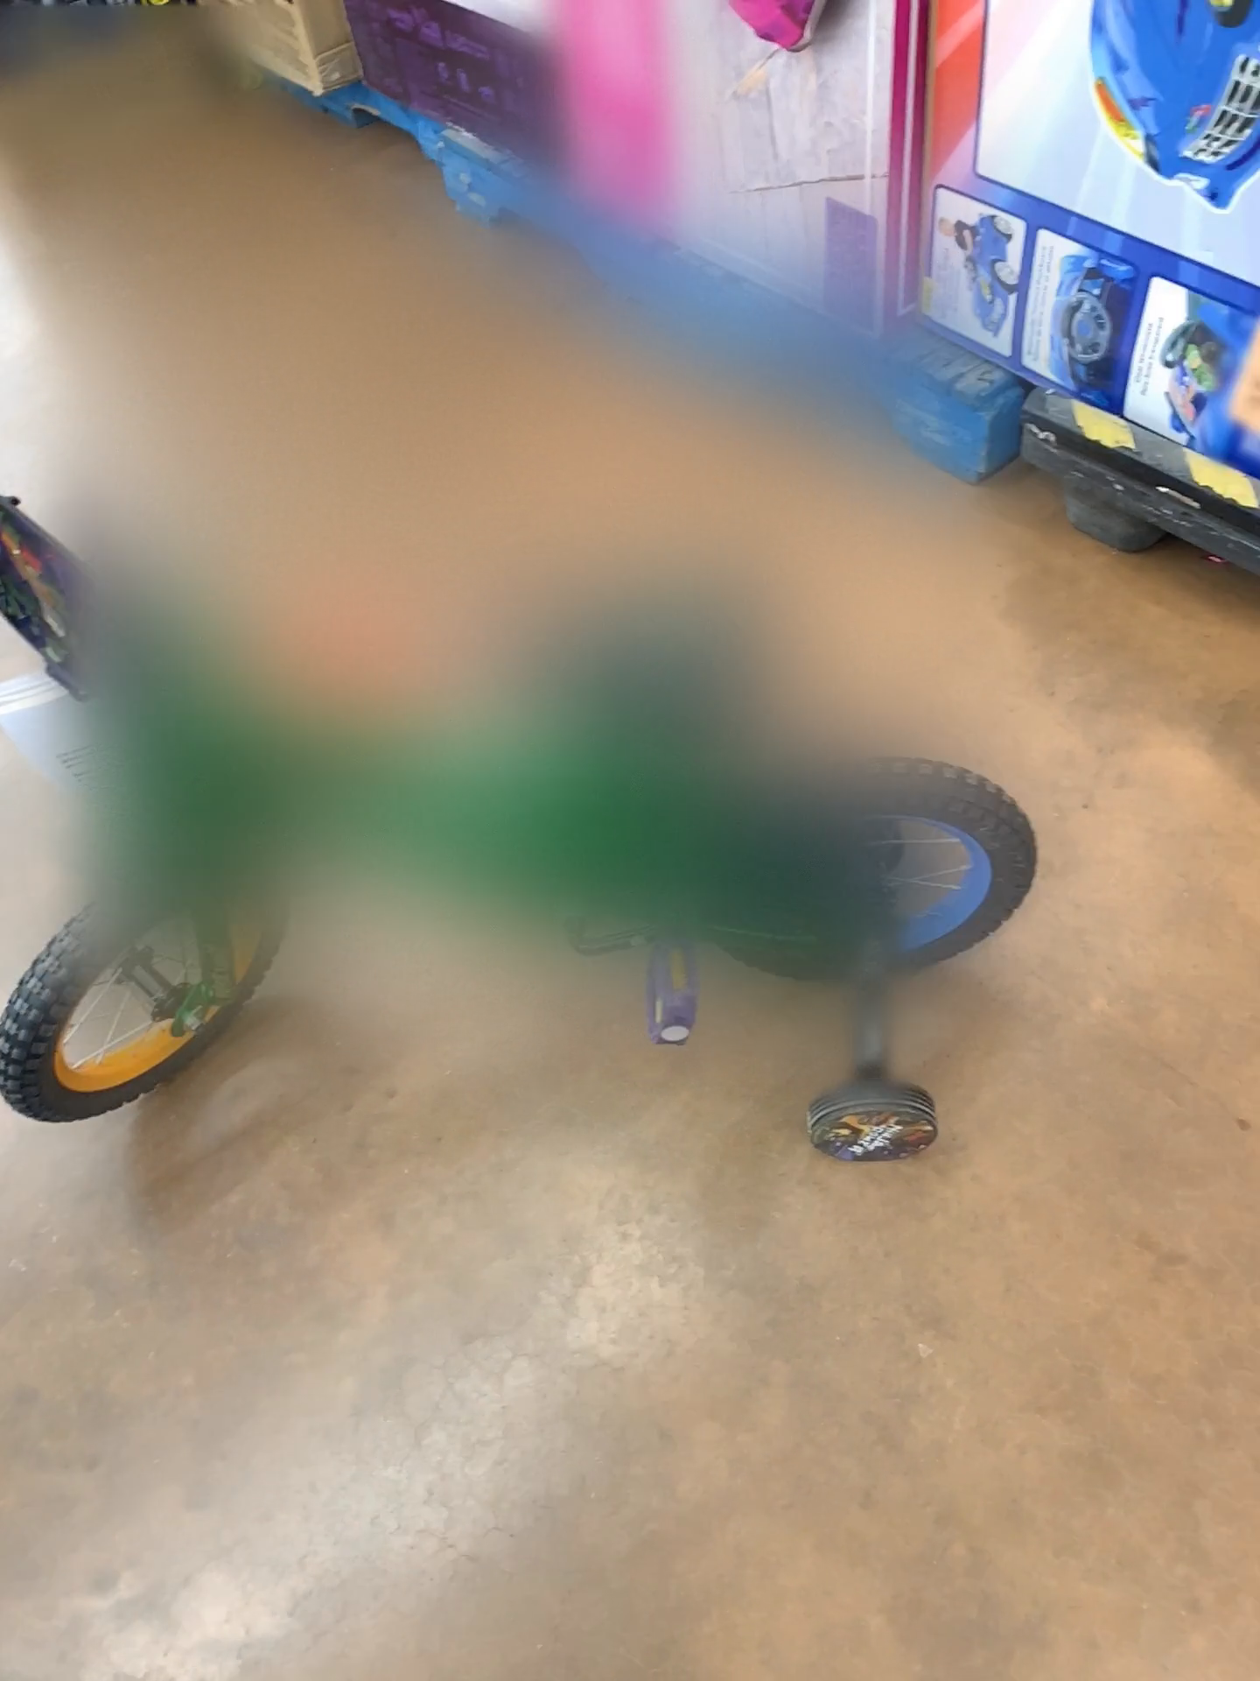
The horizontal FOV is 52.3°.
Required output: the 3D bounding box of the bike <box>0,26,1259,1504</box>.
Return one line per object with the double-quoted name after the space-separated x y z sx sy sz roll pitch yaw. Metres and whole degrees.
-0.104 -0.003 0.864 0.828 0.677 0.533 -9 51 0 "bike"
